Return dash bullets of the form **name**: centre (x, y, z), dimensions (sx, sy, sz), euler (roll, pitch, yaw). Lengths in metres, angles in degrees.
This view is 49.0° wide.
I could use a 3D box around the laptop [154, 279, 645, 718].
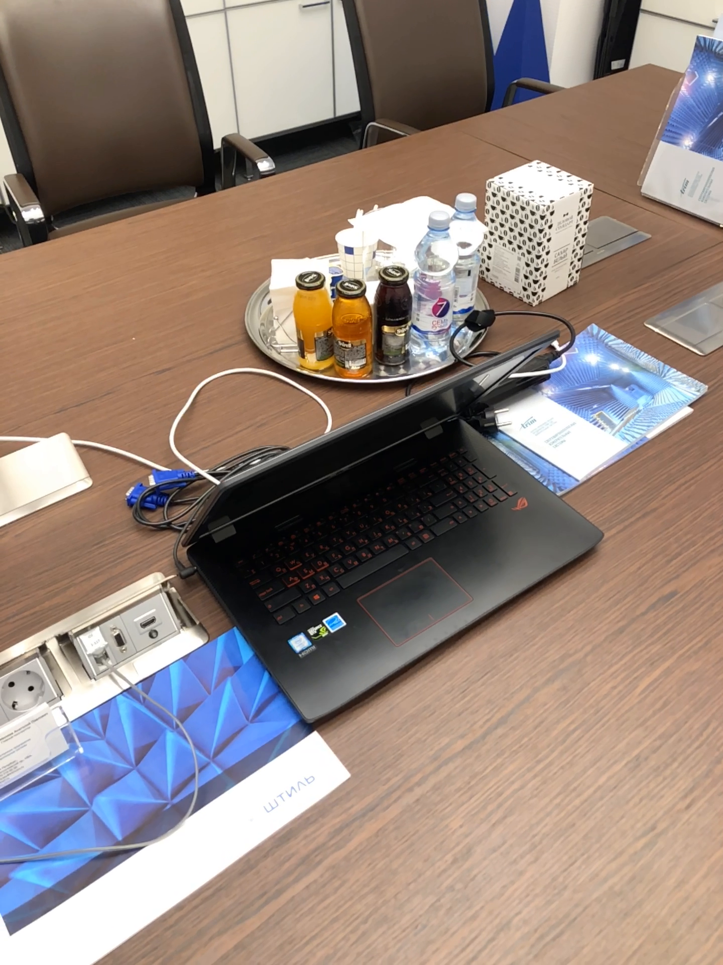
- **laptop**: centre (0.039, -0.007, 0.781), dimensions (0.377, 0.189, 0.237), euler (-26, 50, -25)
